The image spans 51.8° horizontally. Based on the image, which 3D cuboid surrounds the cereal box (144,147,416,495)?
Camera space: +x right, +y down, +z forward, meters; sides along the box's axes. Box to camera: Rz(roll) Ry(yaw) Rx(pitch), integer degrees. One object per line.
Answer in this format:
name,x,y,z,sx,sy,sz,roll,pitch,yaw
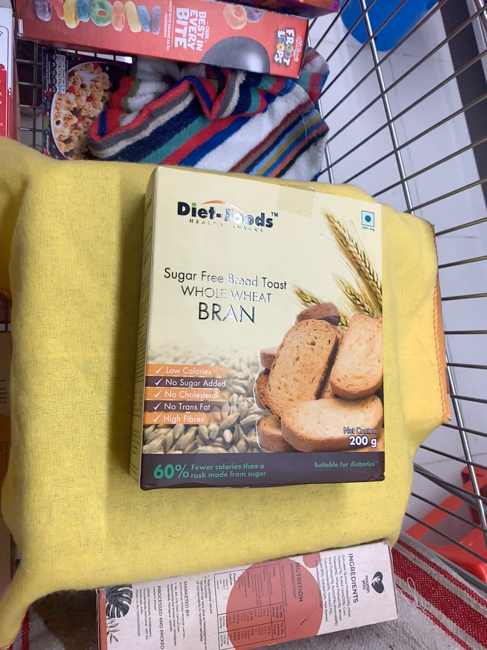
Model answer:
cereal box,0.021,0.002,0.287,0.140,0.050,0.170,4,80,-18
